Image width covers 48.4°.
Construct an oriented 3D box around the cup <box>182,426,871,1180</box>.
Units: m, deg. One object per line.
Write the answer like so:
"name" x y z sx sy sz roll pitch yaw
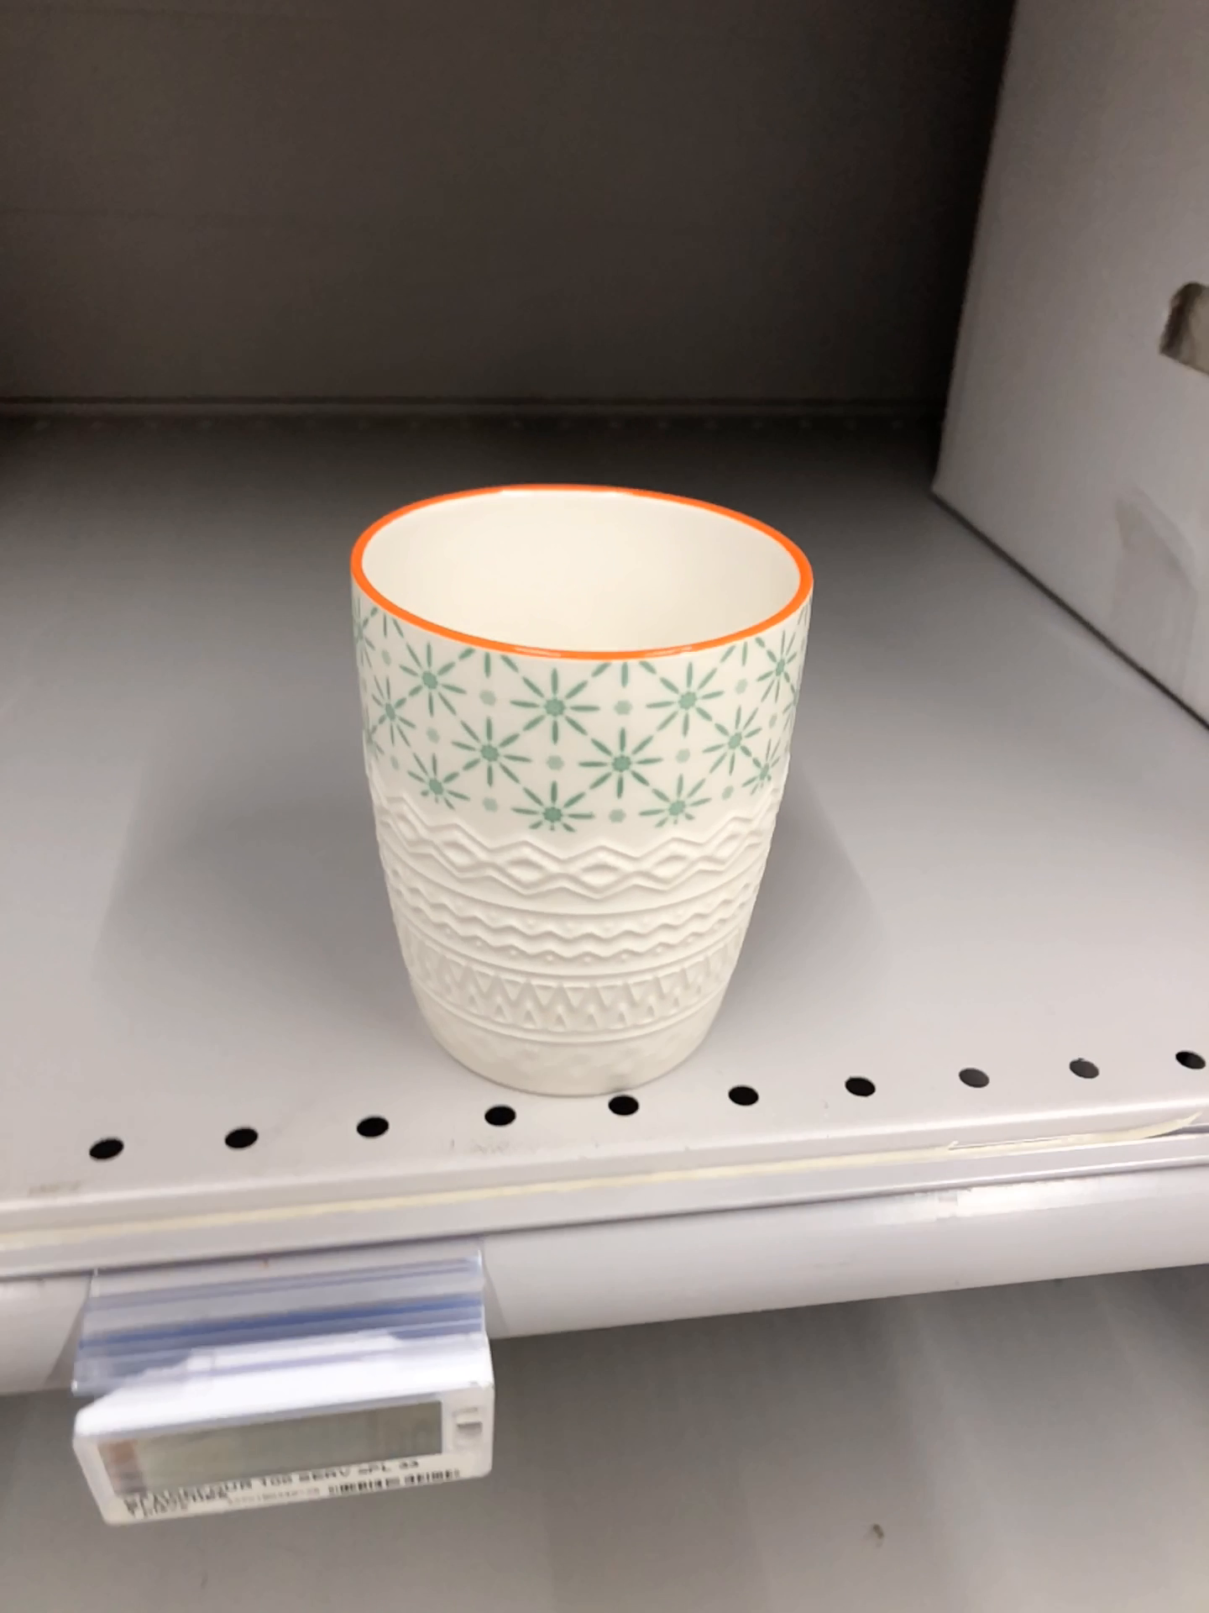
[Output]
"cup" -0.005 -0.011 0.282 0.092 0.100 0.118 9 32 18
